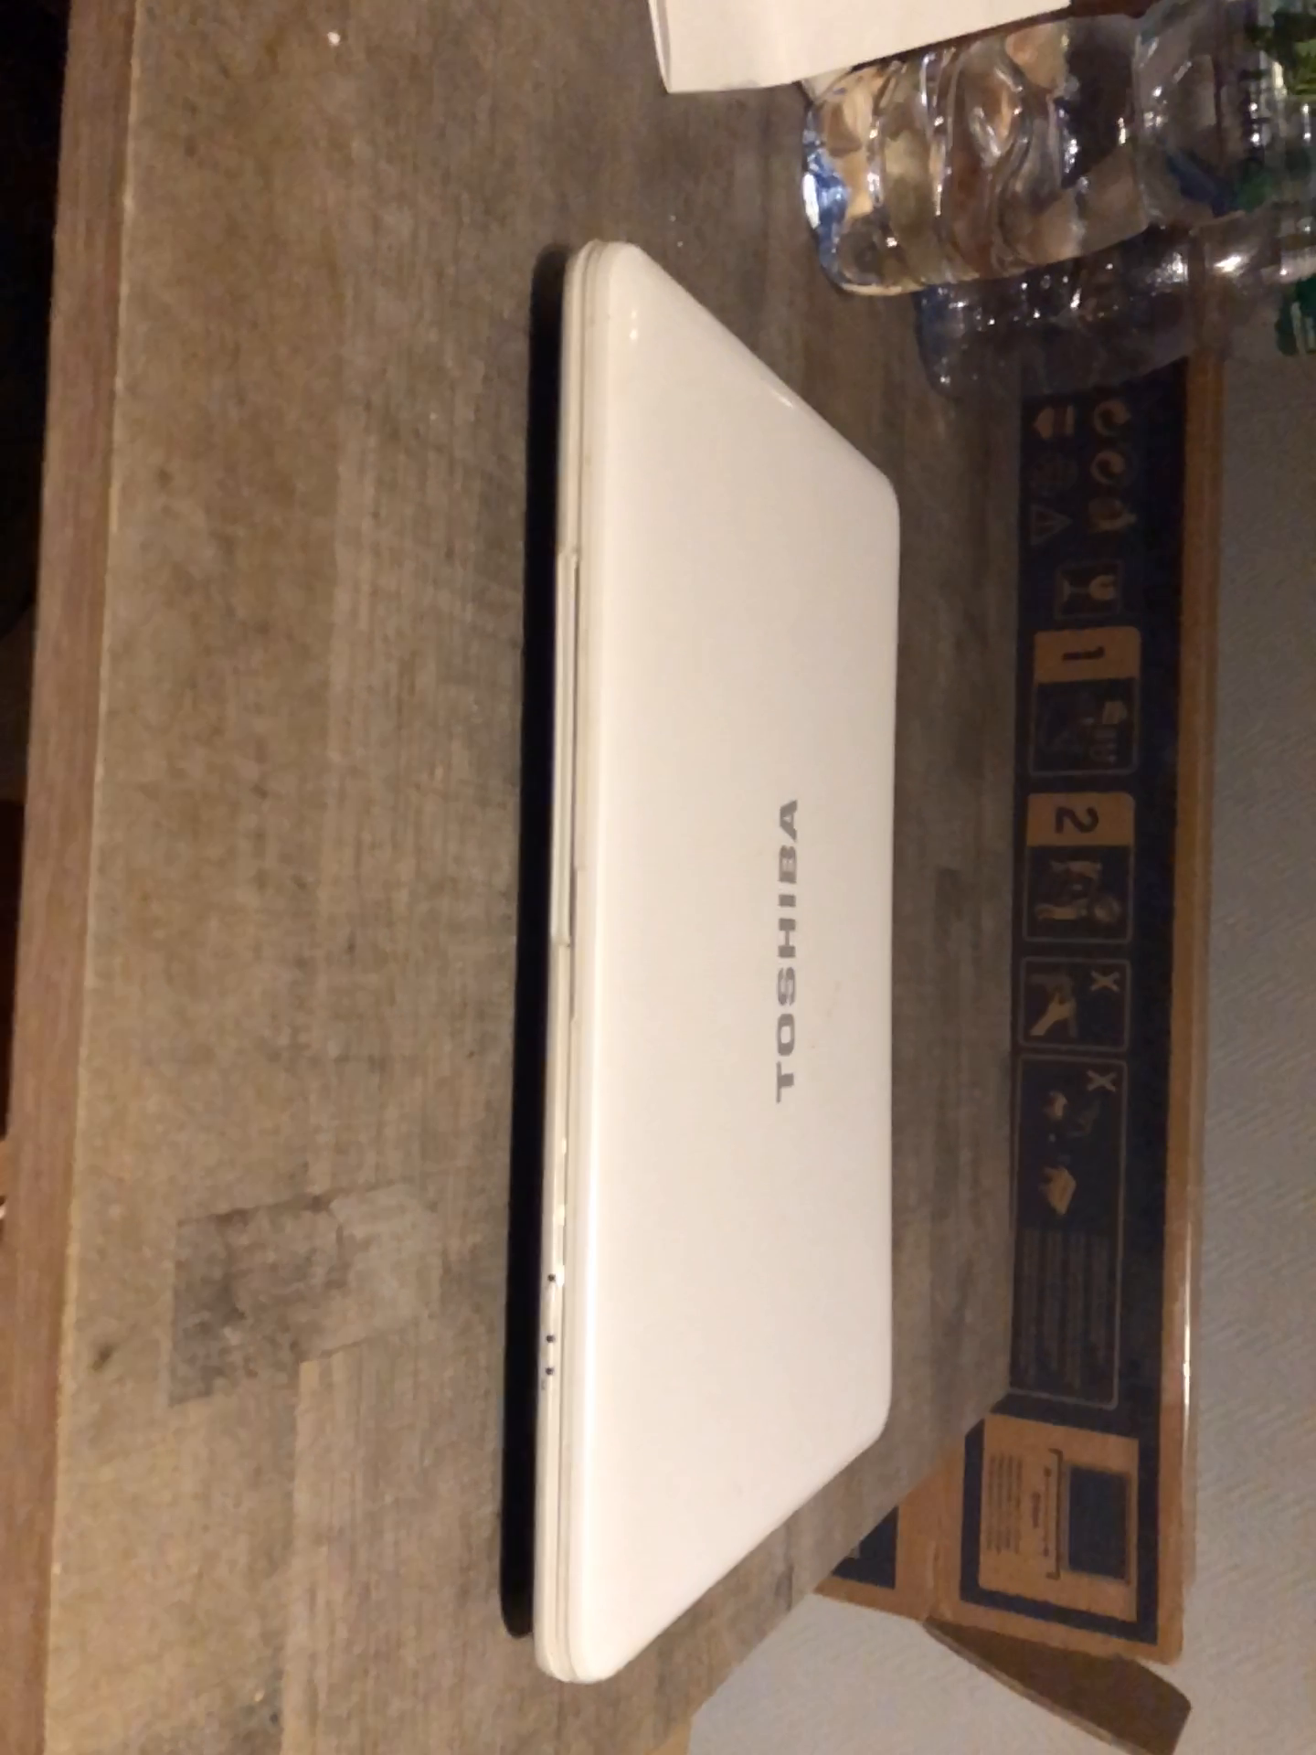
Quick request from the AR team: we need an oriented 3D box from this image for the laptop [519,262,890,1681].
[{"bbox_3d":[0.030,0.024,0.484,0.229,0.020,0.375,7,83,-62],"label":"laptop"}]
